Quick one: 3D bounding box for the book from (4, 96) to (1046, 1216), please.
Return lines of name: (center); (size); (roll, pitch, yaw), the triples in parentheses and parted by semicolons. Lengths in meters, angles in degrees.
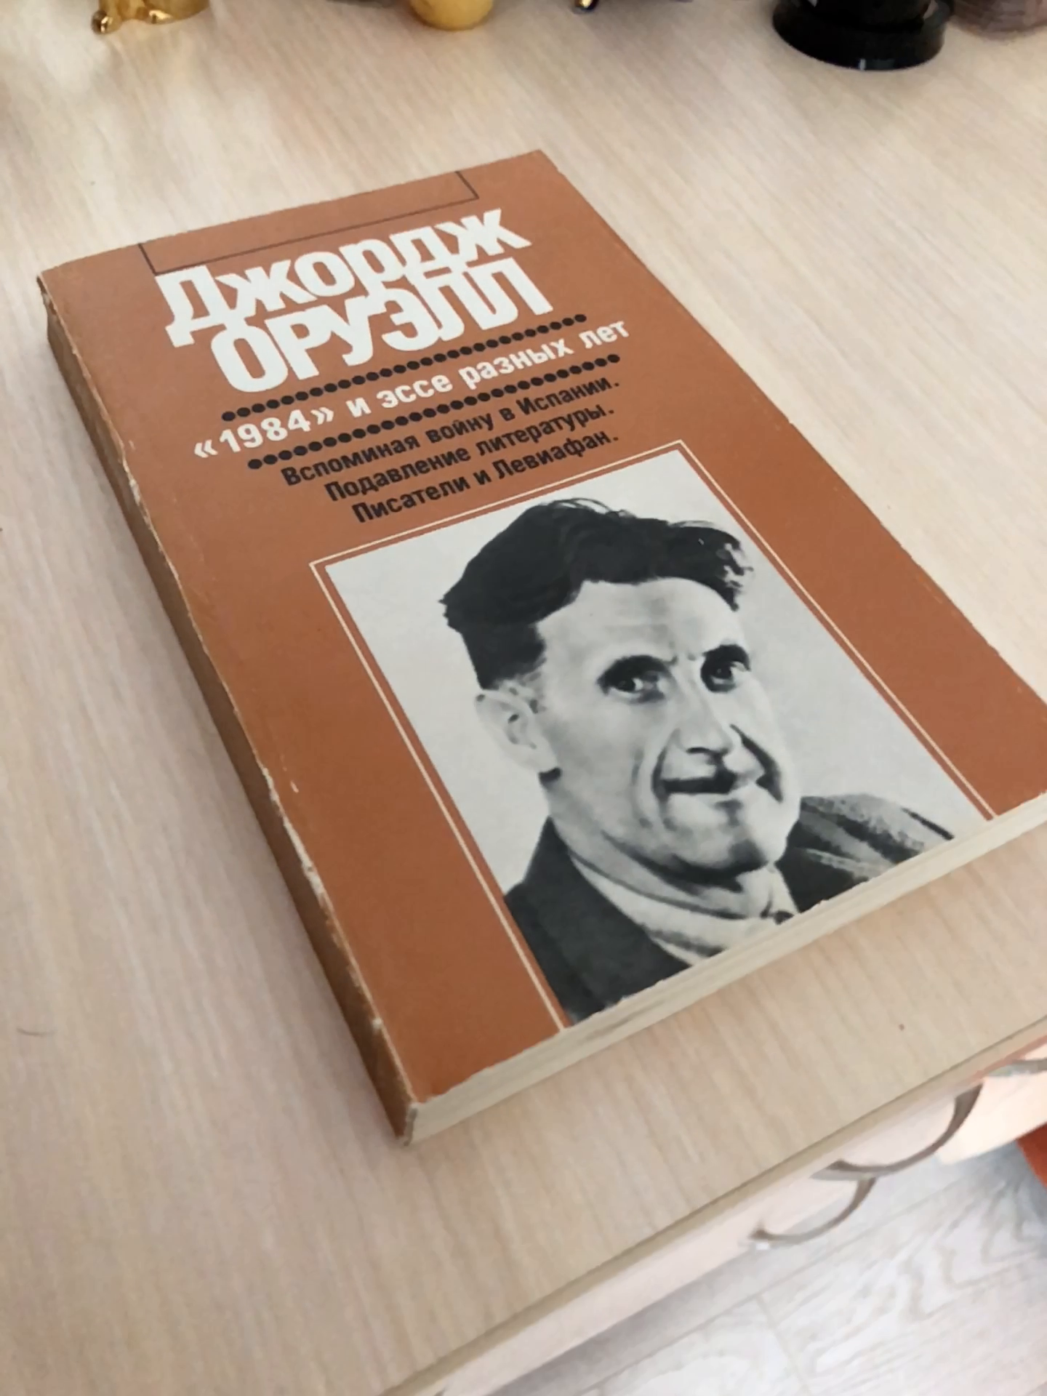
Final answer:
book: (-0.004, -0.036, 0.228); (0.130, 0.040, 0.211); (-22, 58, -17)
